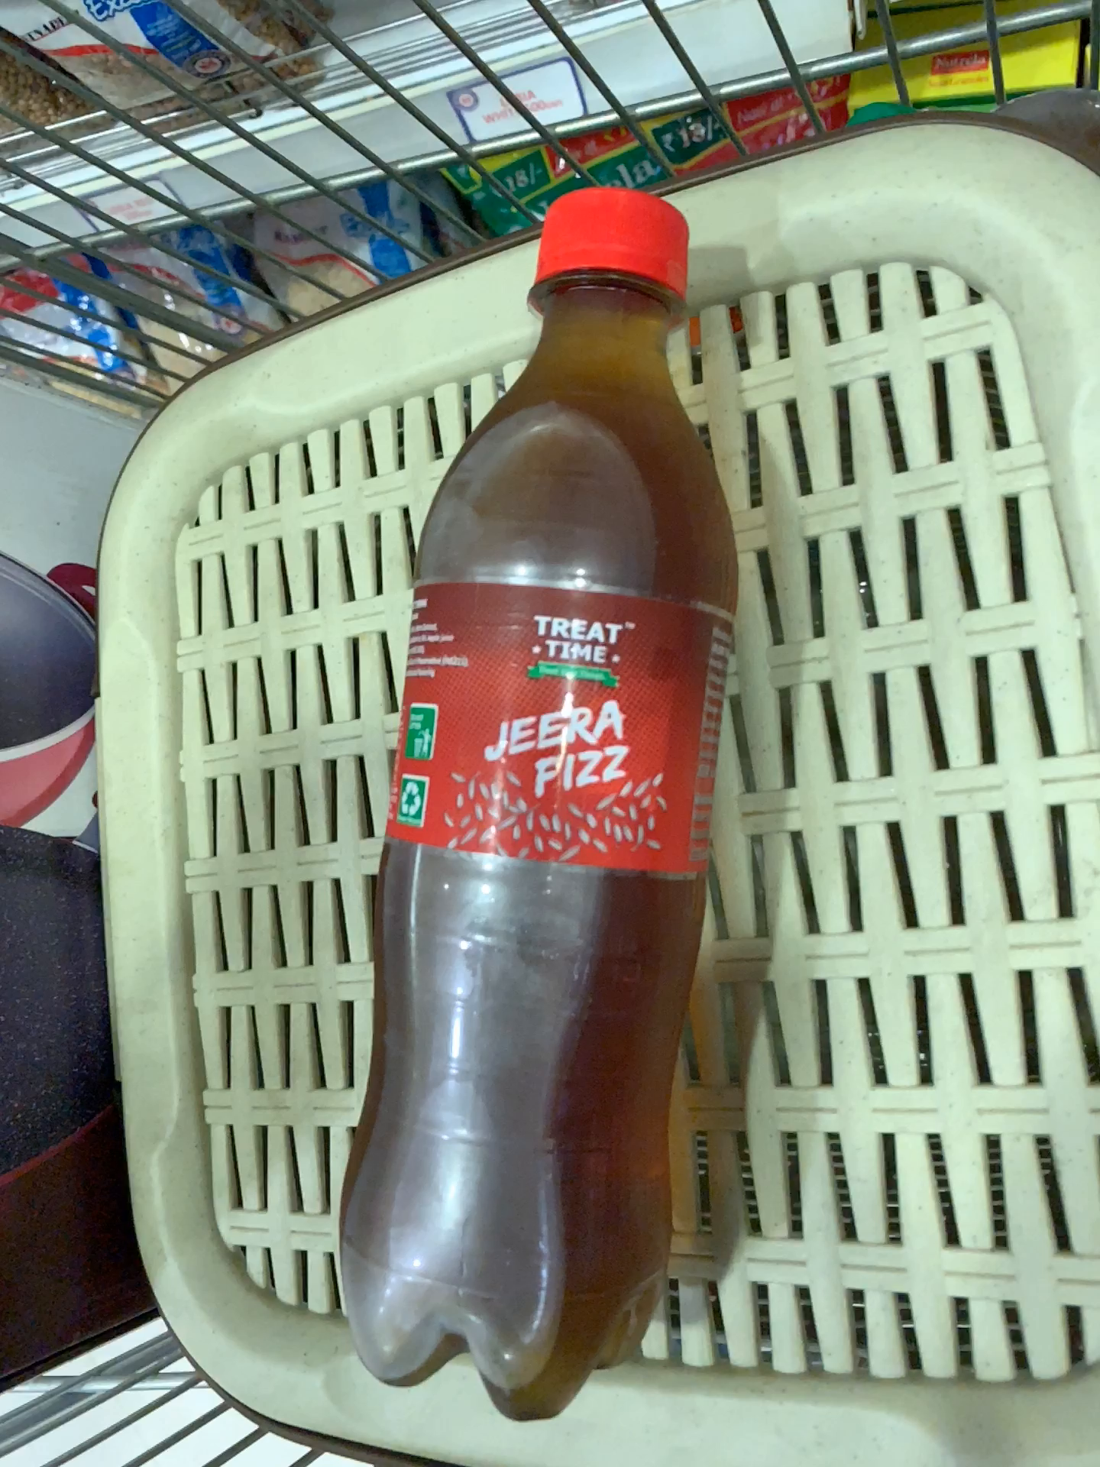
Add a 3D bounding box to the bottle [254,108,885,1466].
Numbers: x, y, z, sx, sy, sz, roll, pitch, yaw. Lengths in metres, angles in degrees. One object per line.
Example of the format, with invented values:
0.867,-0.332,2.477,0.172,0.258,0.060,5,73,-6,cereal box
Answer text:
0.005,0.009,0.231,0.080,0.070,0.230,7,87,1,bottle
